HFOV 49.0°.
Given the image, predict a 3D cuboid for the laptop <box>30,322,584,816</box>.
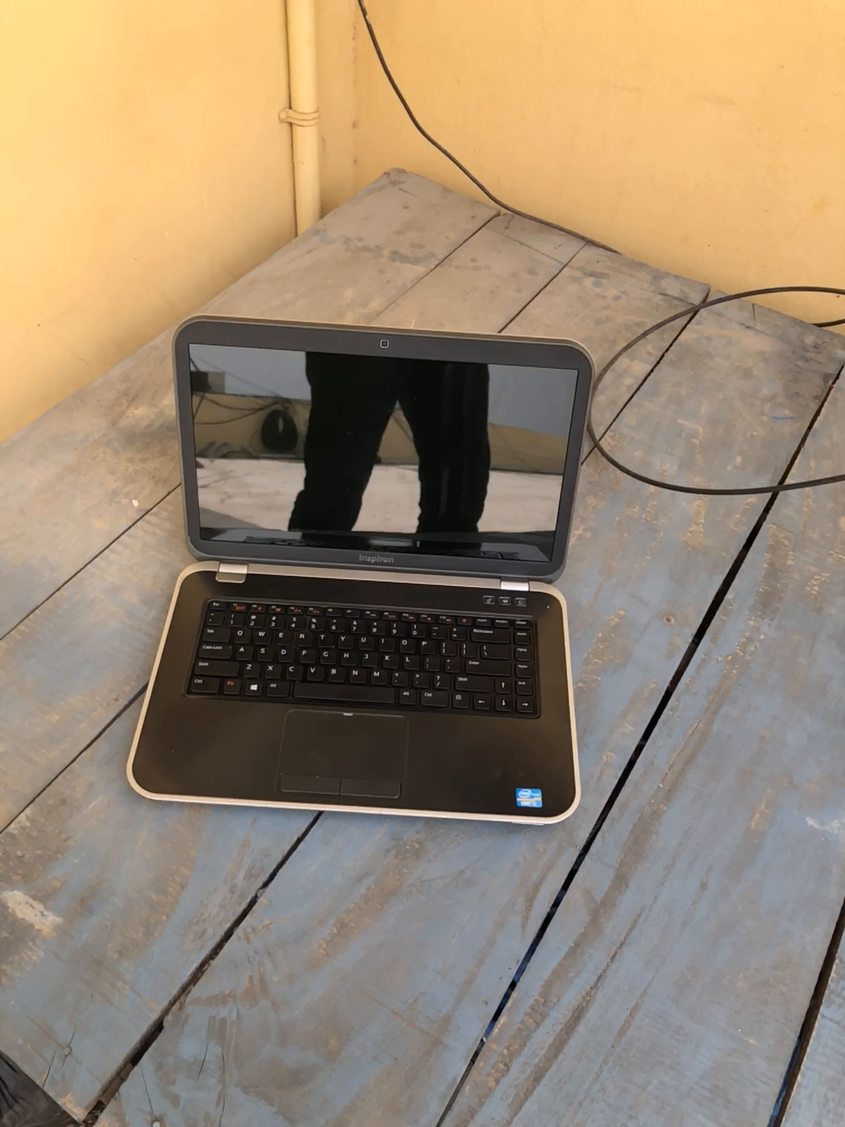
[{"bbox_3d":[-0.071,-0.004,0.774,0.352,0.209,0.334,3,49,1],"label":"laptop"}]
